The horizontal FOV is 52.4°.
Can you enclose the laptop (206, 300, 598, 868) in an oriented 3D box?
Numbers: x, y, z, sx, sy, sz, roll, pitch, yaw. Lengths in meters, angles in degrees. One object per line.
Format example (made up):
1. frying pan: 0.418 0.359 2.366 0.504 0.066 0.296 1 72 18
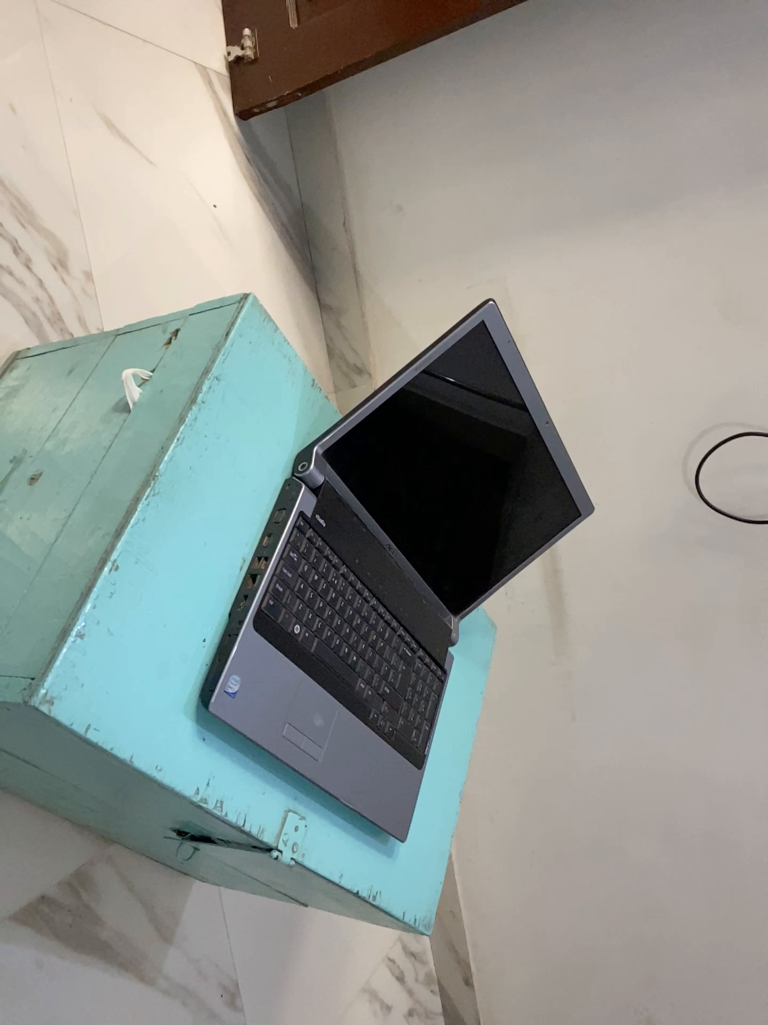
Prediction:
1. laptop: 0.073 0.088 0.893 0.391 0.178 0.478 51 45 -42
